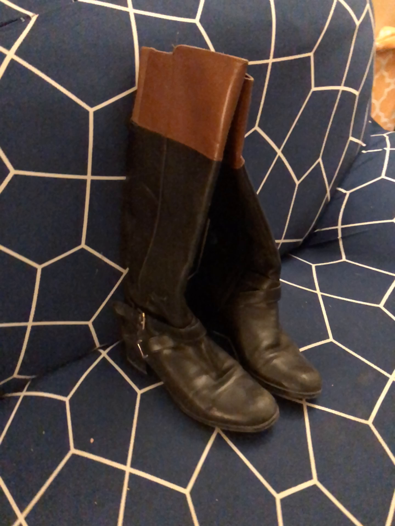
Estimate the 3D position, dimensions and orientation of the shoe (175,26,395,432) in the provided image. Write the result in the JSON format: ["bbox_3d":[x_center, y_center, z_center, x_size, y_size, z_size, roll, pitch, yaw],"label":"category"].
[{"bbox_3d":[0.076,-0.031,0.497,0.100,0.377,0.251,-18,43,-21],"label":"shoe"}]

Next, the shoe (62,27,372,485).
[{"bbox_3d":[-0.011,0.001,0.486,0.110,0.427,0.271,-23,44,-30],"label":"shoe"}]
